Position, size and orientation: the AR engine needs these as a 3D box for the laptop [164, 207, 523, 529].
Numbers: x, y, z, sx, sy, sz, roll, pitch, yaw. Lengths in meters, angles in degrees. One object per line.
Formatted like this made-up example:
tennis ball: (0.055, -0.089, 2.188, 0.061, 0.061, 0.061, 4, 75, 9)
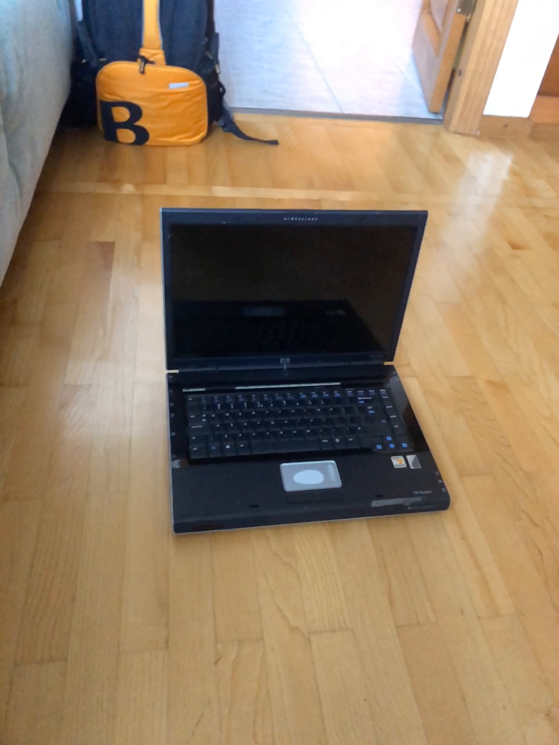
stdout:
laptop: (0.041, -0.019, 0.806, 0.363, 0.254, 0.307, -2, 44, -11)
